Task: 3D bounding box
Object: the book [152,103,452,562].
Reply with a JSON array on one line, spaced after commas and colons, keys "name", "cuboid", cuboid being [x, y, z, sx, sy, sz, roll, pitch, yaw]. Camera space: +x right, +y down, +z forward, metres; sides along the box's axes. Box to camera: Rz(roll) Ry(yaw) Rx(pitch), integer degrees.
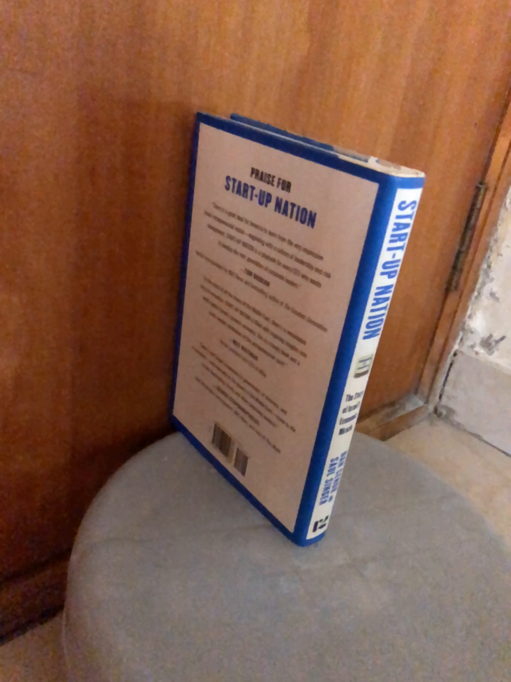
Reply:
[{"name": "book", "cuboid": [0.001, -0.016, 0.366, 0.040, 0.229, 0.200, -14, 33, -35]}]
